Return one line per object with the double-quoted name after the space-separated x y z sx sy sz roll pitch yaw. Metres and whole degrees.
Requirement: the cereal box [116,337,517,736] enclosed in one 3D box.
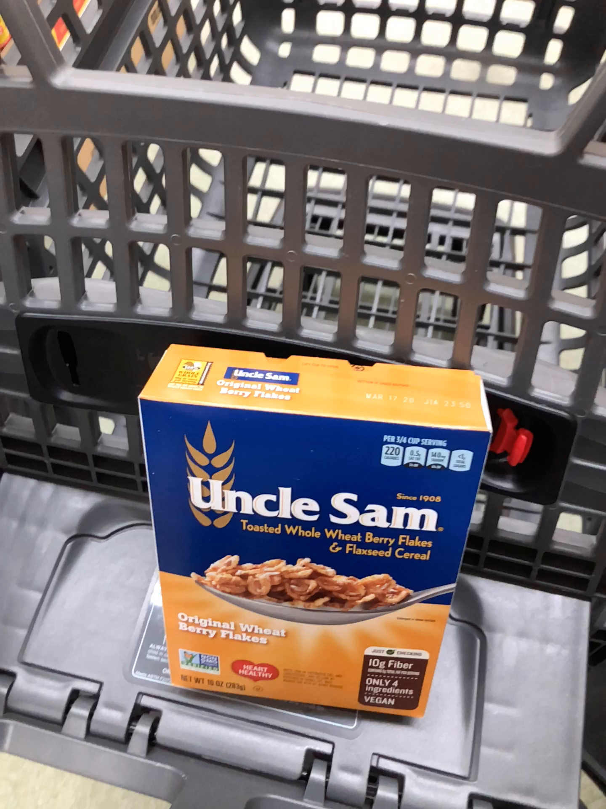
0.003 0.077 0.346 0.160 0.210 0.050 6 34 5 "cereal box"
